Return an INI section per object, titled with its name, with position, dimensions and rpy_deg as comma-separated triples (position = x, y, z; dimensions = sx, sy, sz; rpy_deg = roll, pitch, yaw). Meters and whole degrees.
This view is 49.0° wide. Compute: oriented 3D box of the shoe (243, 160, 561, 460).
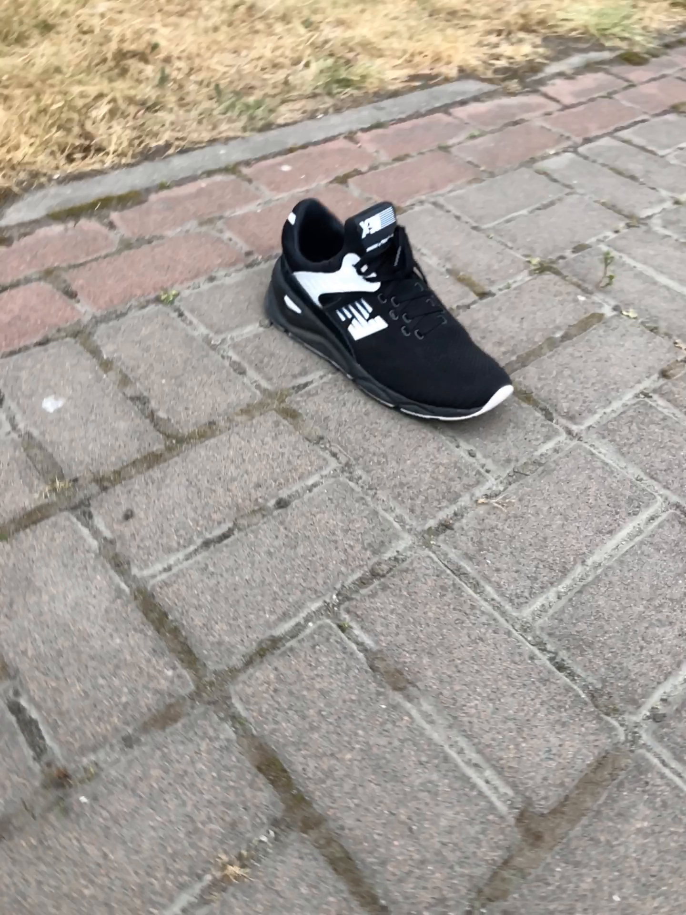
[shoe]
position = 0.037, -0.144, 0.688
dimensions = 0.100, 0.129, 0.281
rpy_deg = -32, 57, -31
